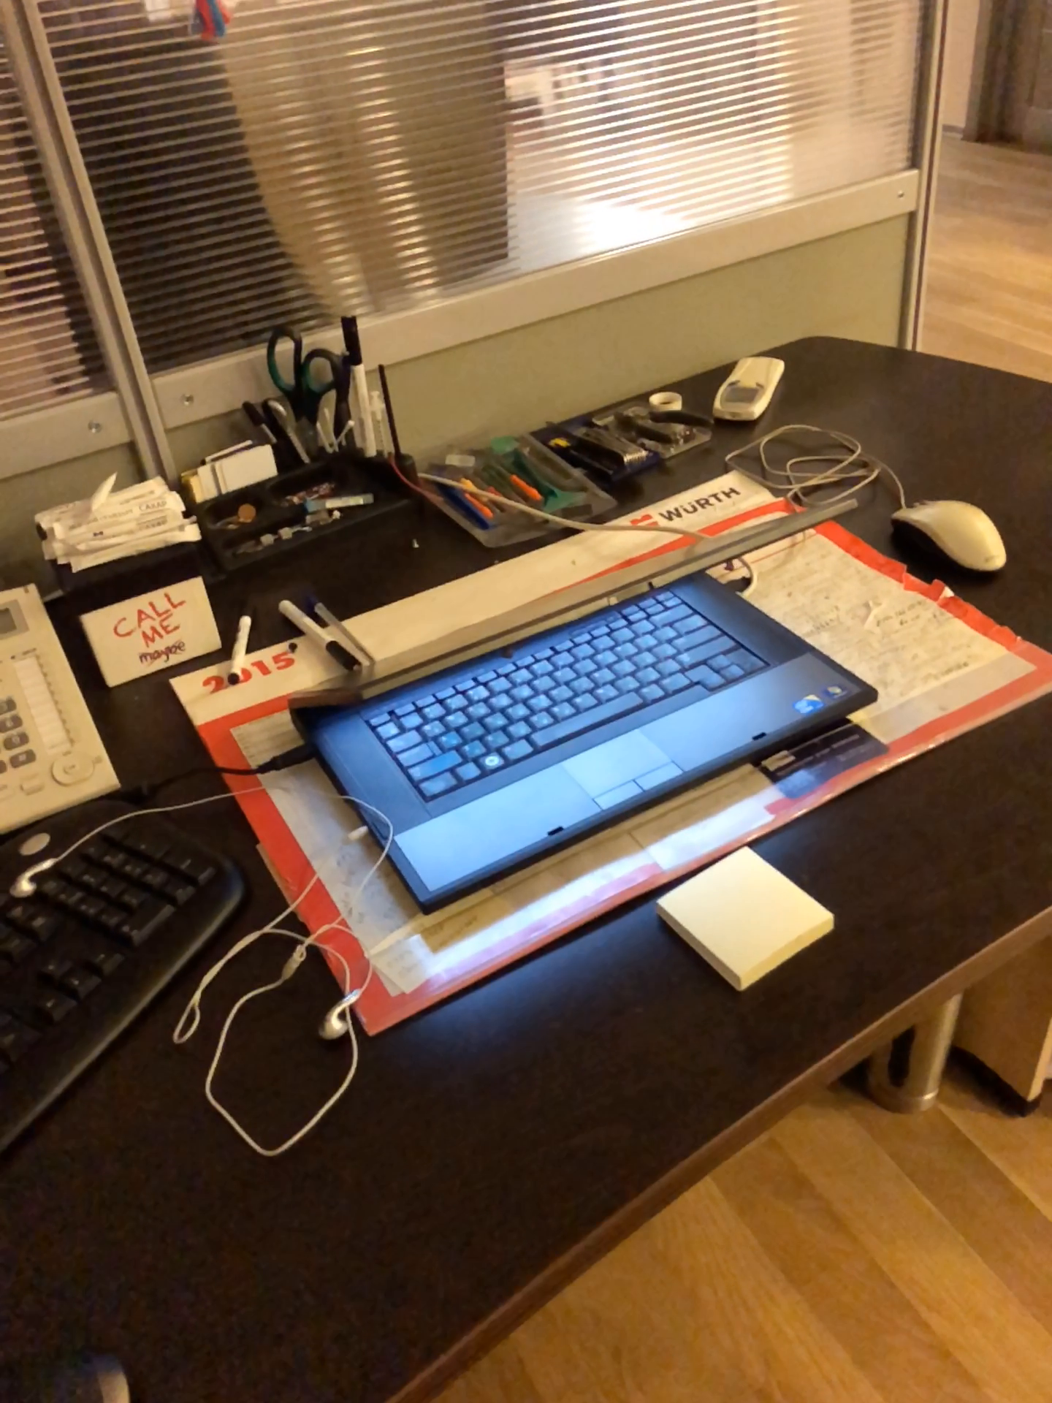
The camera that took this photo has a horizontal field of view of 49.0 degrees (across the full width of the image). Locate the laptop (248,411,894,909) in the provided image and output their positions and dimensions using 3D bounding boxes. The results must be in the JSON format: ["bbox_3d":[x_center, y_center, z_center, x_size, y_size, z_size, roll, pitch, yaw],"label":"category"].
[{"bbox_3d":[0.030,-0.053,0.804,0.358,0.141,0.239,-22,39,-21],"label":"laptop"}]
